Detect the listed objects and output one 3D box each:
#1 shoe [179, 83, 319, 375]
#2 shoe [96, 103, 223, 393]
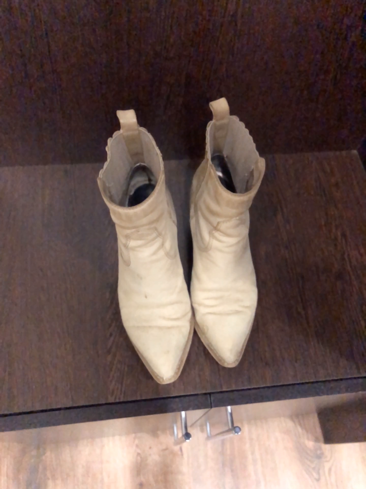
[{"bbox_3d":[0.051,-0.014,0.462,0.100,0.170,0.280,0,62,-3],"label":"shoe"},{"bbox_3d":[-0.033,0.007,0.458,0.100,0.170,0.270,-4,63,-4],"label":"shoe"}]
